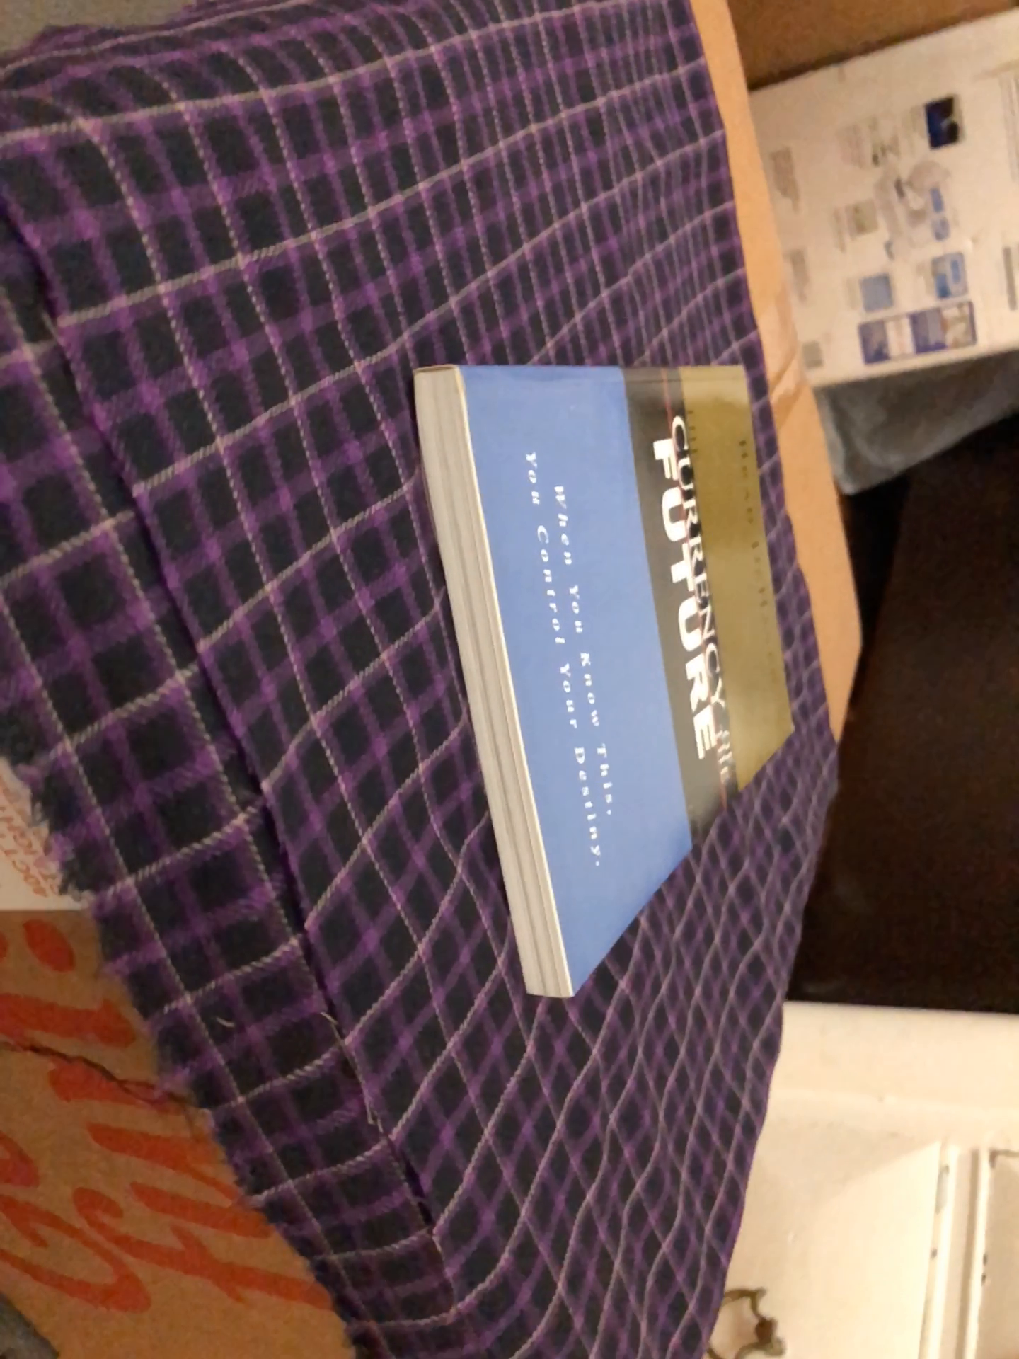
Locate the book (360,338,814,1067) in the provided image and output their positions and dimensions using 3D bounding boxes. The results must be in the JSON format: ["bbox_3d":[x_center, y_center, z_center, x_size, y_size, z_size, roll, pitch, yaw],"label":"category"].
[{"bbox_3d":[0.043,-0.016,0.326,0.221,0.020,0.150,-27,109,-60],"label":"book"}]
